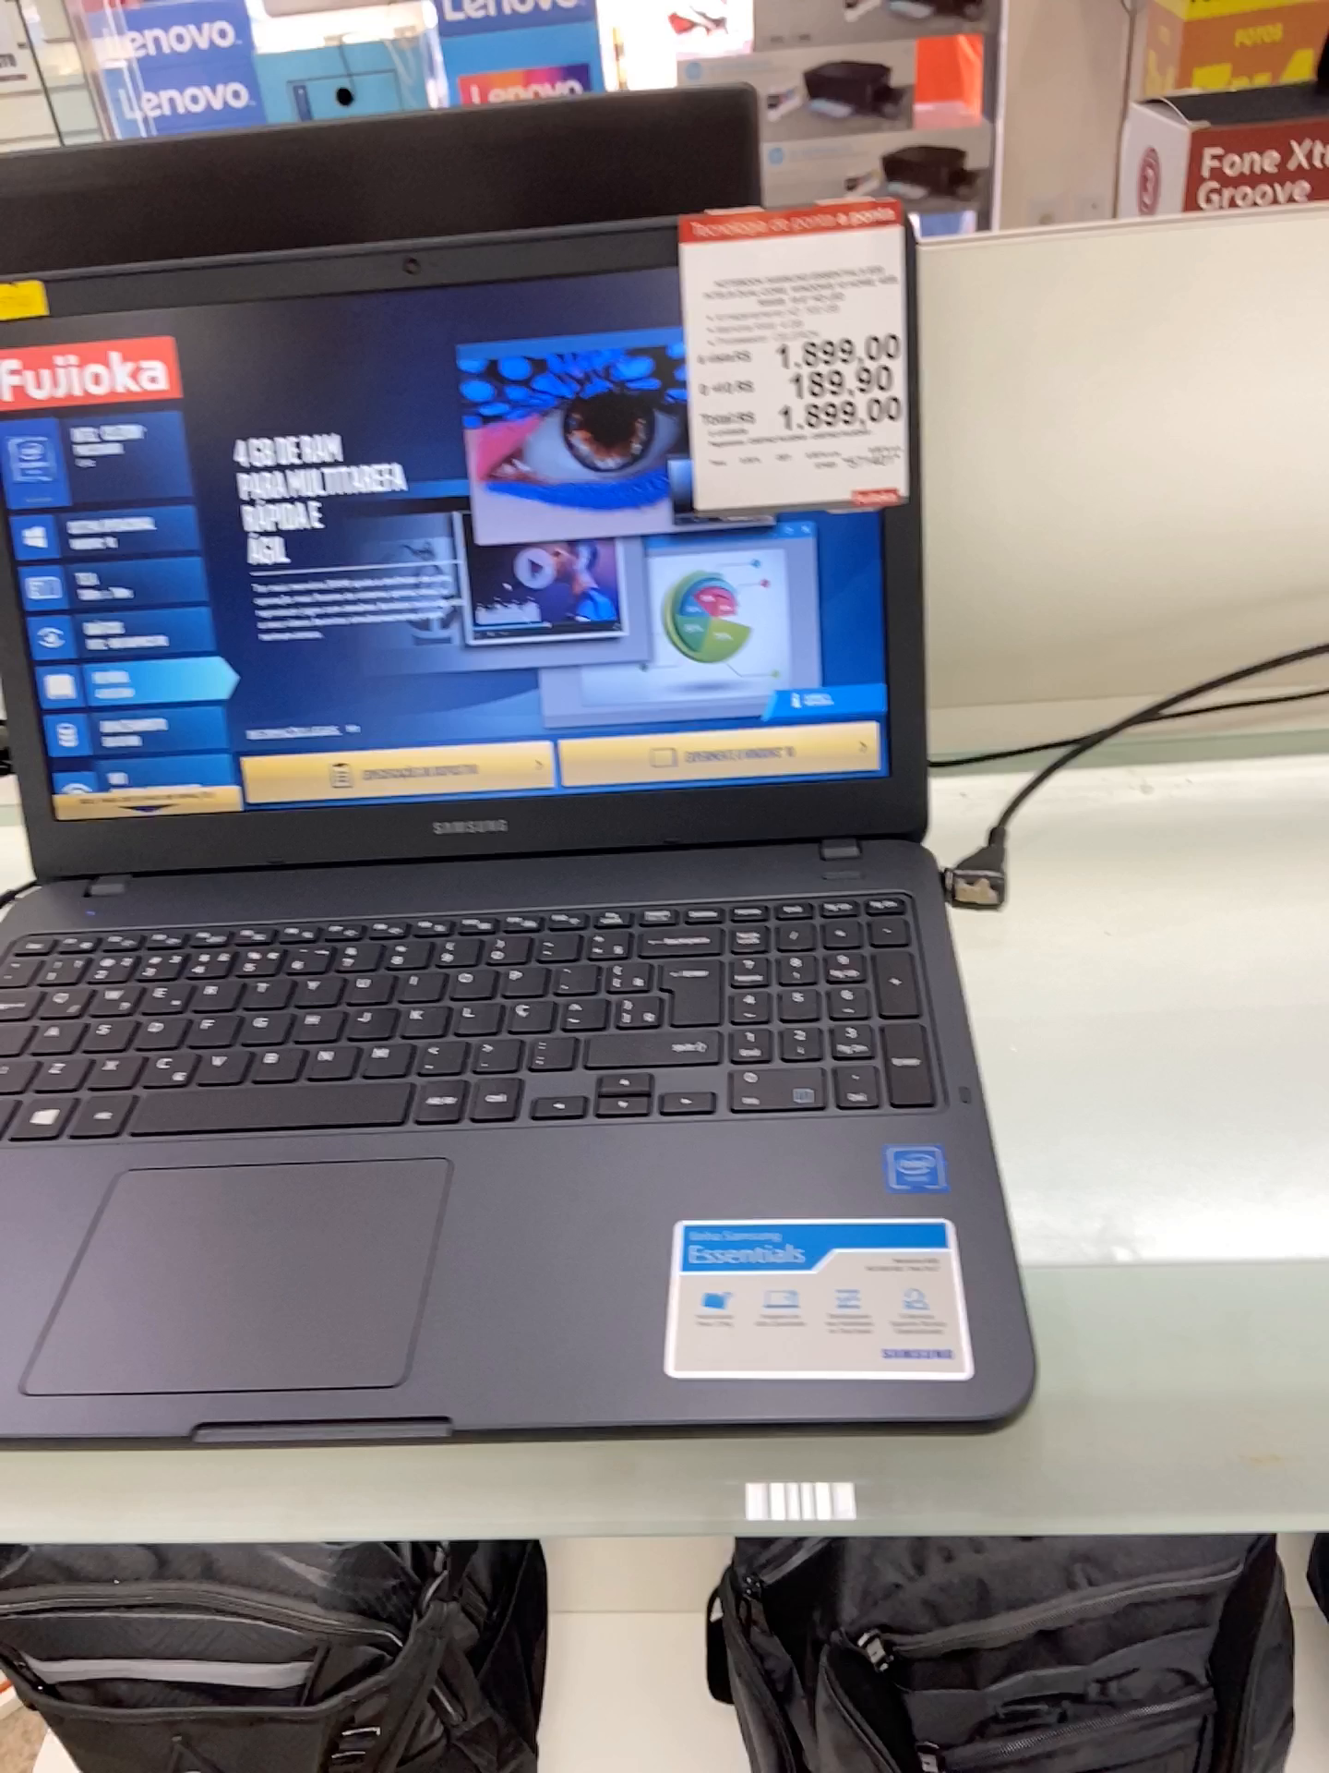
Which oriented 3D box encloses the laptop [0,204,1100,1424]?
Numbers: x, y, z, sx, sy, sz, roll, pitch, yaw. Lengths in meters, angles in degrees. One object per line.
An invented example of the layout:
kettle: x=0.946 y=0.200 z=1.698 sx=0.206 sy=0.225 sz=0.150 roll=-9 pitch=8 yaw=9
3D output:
laptop: x=-0.094 y=-0.049 z=0.436 sx=0.366 sy=0.207 sz=0.348 roll=-3 pitch=37 yaw=6
